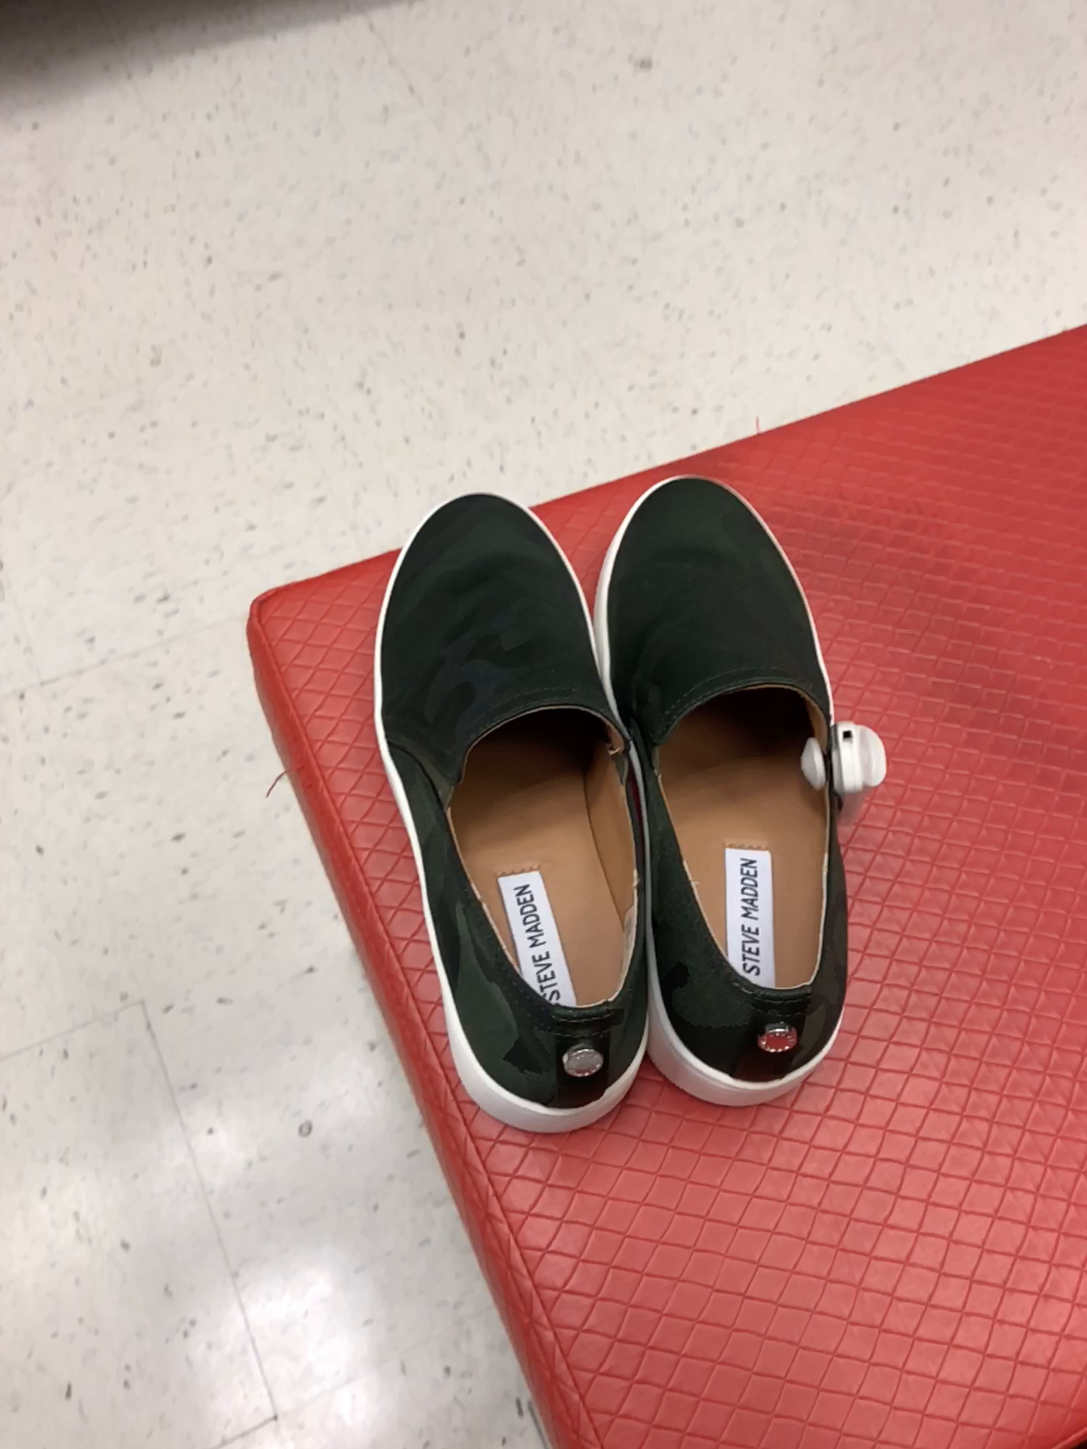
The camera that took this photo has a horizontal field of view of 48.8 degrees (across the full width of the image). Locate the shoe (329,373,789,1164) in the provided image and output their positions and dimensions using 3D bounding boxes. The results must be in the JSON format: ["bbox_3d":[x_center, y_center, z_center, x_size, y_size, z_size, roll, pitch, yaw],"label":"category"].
[{"bbox_3d":[-0.008,0.005,0.452,0.105,0.086,0.276,-9,62,-8],"label":"shoe"}]

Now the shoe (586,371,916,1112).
[{"bbox_3d":[0.066,-0.003,0.462,0.077,0.086,0.276,-1,61,-3],"label":"shoe"}]
